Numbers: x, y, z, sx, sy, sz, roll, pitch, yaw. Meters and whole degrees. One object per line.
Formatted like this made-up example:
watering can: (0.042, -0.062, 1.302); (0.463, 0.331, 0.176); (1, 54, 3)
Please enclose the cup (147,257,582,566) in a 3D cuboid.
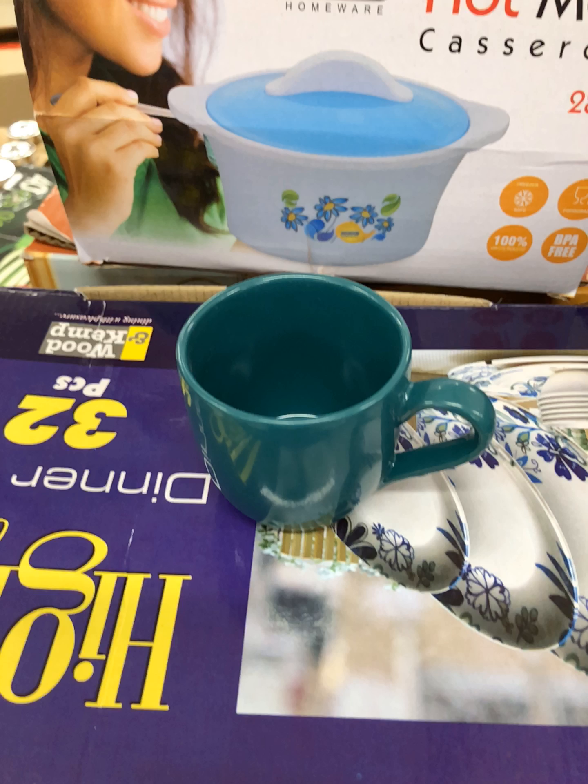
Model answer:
cup: (0.015, 0.004, 0.175); (0.090, 0.050, 0.060); (3, 45, 1)
